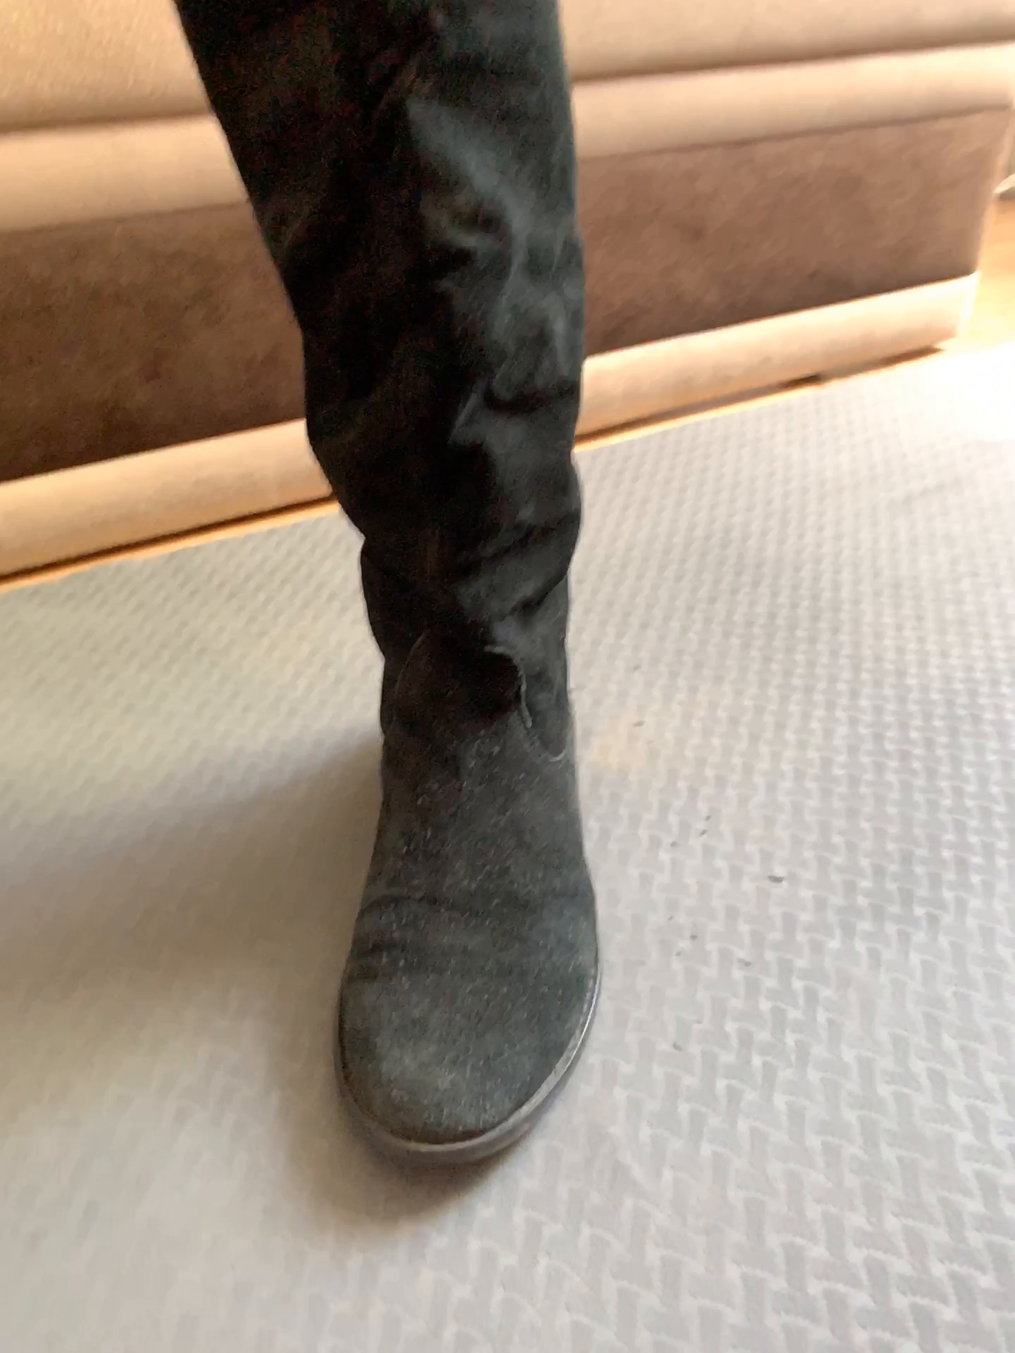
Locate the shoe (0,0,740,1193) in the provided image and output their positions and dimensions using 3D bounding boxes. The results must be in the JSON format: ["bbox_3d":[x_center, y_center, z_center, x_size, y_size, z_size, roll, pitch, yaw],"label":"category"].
[{"bbox_3d":[-0.028,-0.101,0.333,0.130,0.378,0.322,-2,31,3],"label":"shoe"}]
